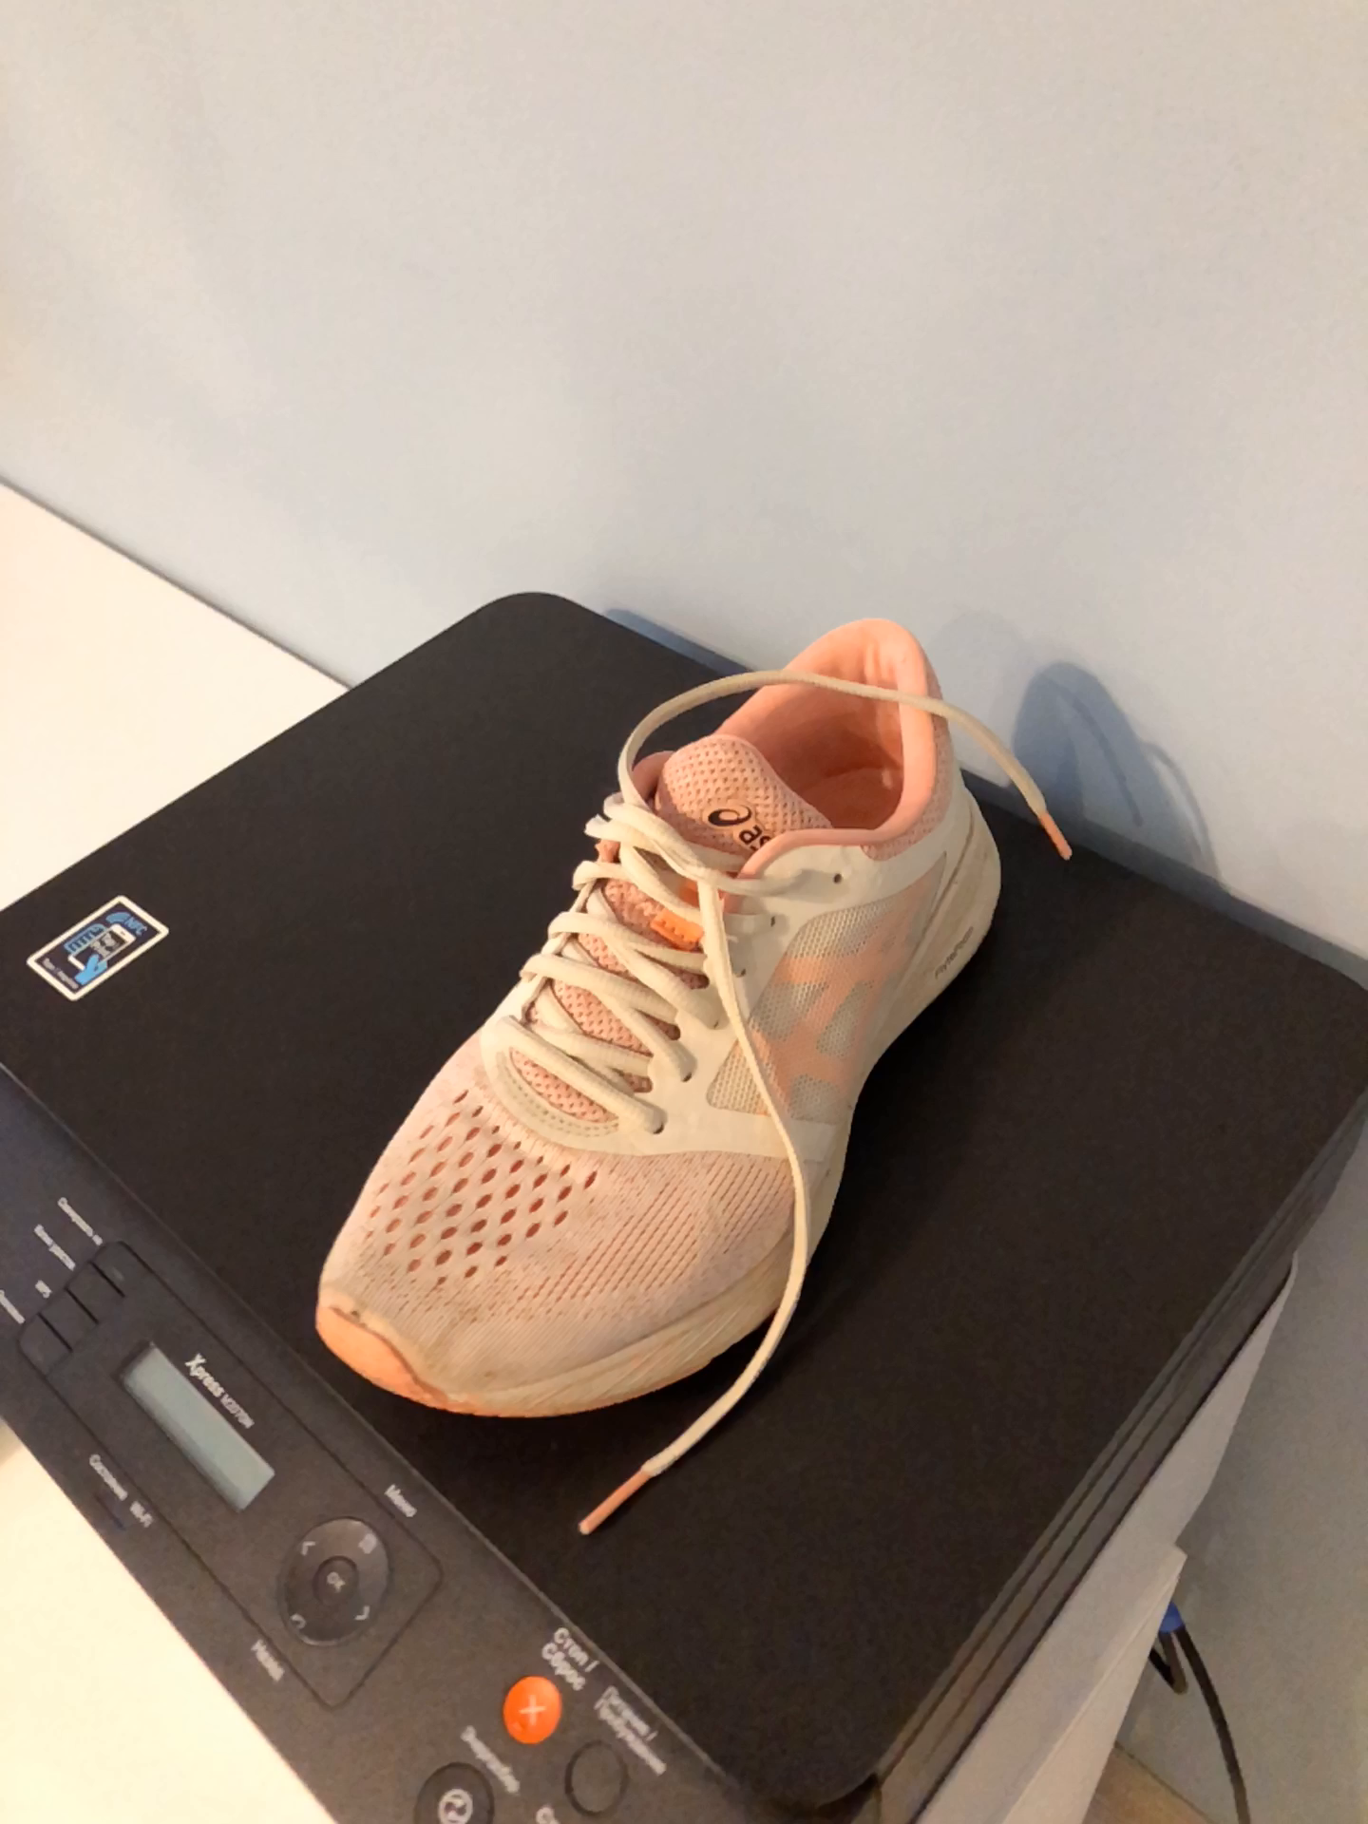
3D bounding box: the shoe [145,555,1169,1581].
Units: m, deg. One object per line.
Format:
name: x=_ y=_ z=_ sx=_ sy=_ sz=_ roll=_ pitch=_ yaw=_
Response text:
shoe: x=0.009 y=0.021 z=0.400 sx=0.116 sy=0.089 sz=0.254 roll=28 pitch=55 yaw=29
